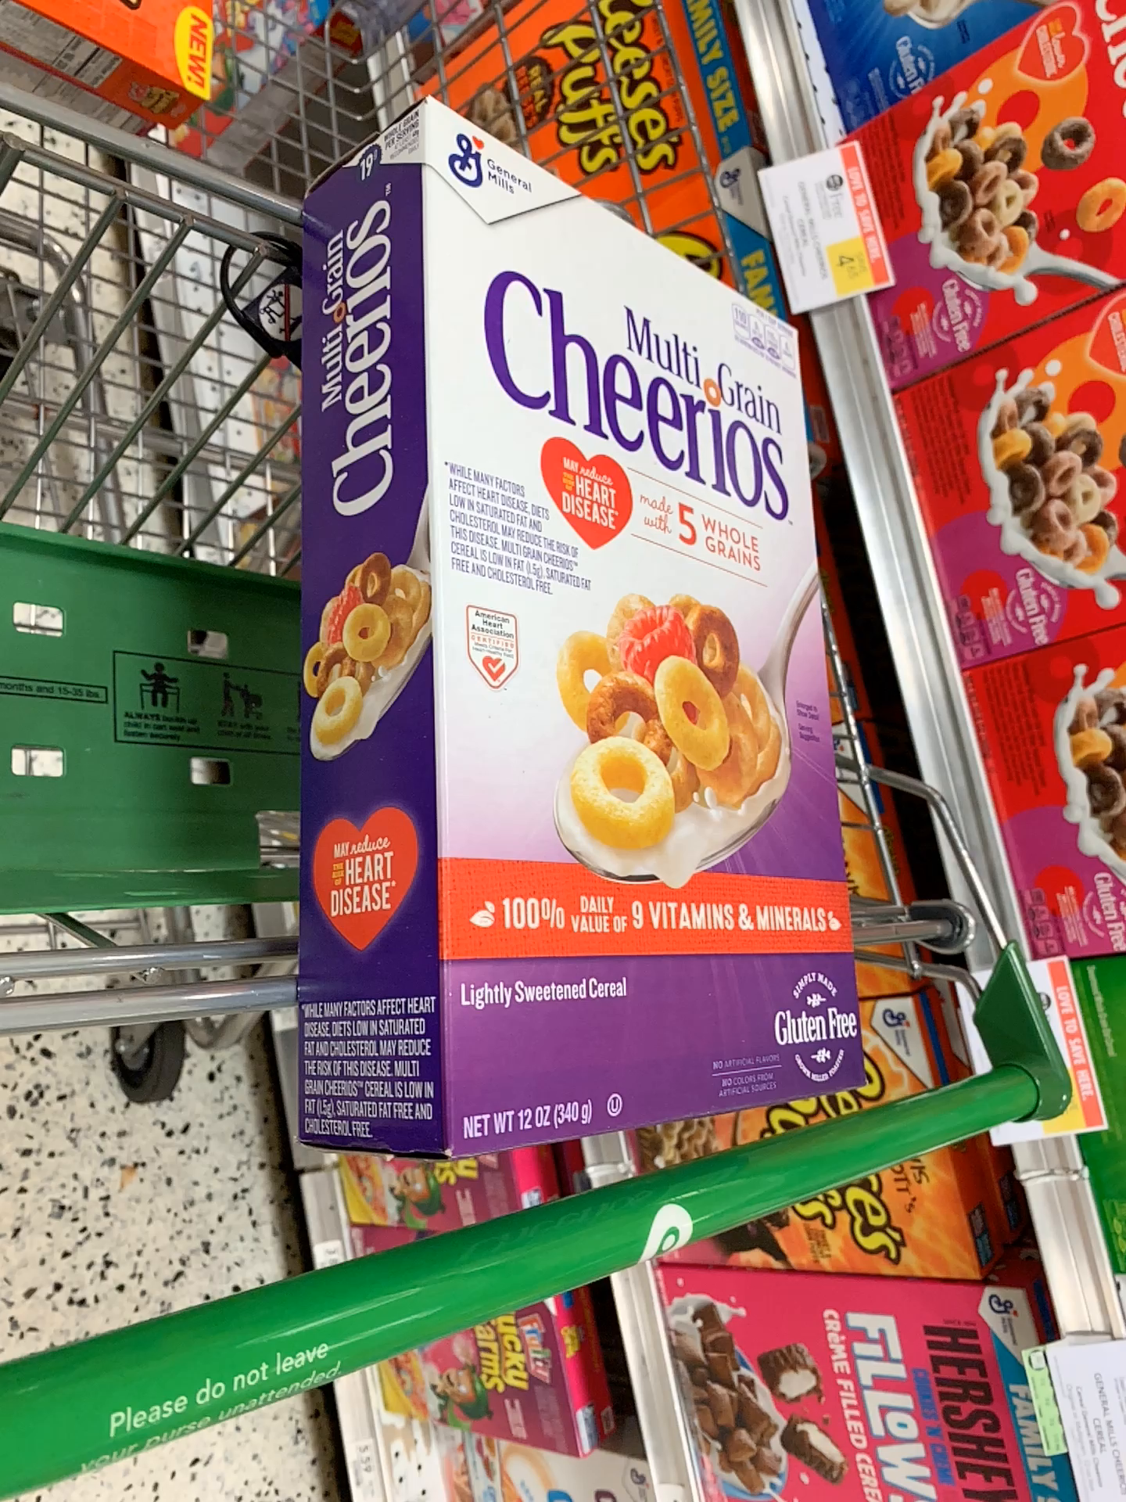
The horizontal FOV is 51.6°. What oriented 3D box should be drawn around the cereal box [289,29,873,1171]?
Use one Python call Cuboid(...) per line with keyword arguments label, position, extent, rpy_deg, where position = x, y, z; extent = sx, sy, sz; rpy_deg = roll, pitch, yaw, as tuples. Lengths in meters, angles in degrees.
Cuboid(label="cereal box", position=(0.011, -0.040, 0.407), extent=(0.201, 0.069, 0.321), rpy_deg=(9, 74, -46))
